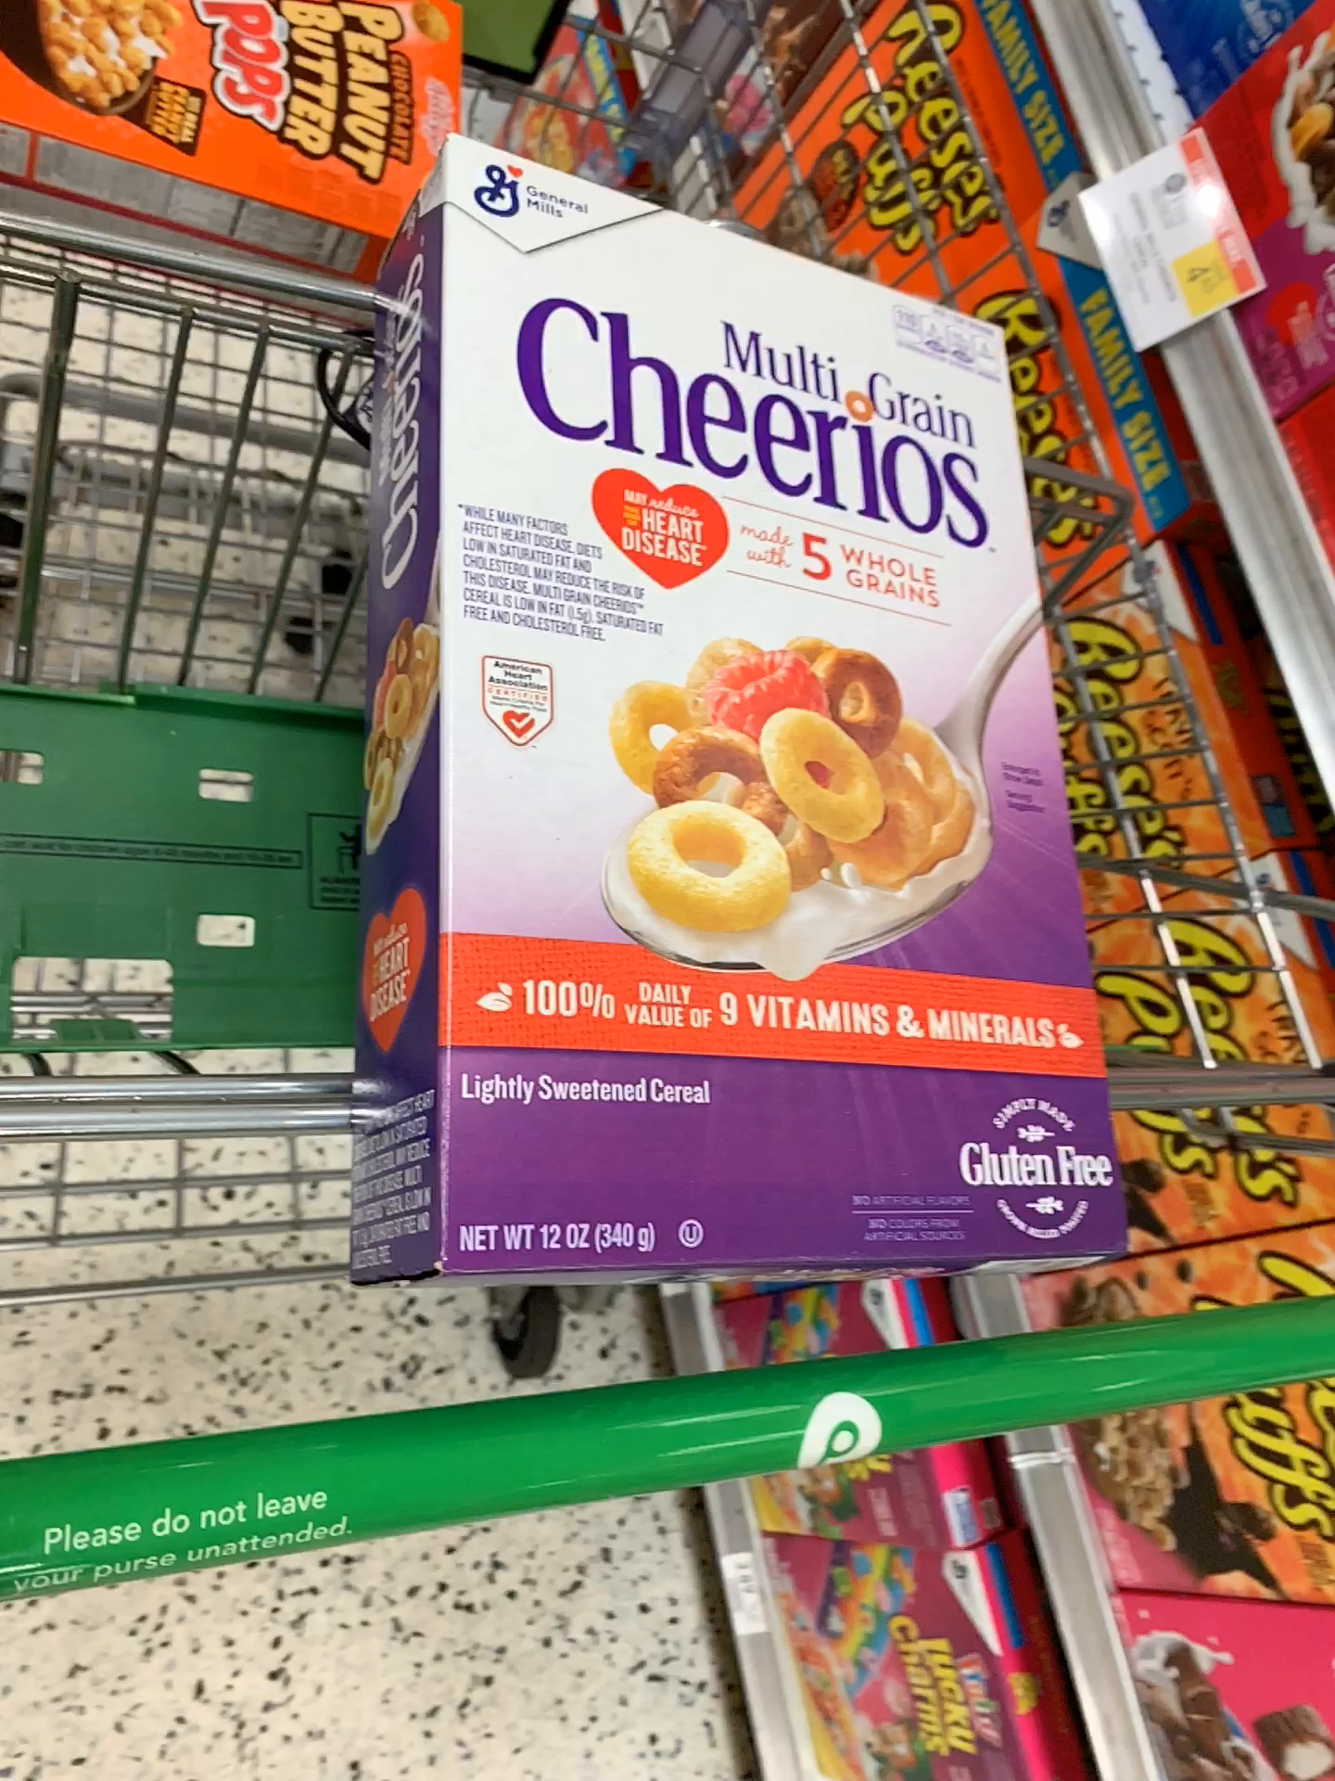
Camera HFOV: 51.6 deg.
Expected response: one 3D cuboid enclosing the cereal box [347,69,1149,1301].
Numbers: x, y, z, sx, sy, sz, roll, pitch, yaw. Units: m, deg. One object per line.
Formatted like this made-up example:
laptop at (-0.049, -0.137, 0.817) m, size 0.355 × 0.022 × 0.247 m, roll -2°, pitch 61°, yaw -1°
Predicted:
cereal box at (0.018, -0.052, 0.405) m, size 0.201 × 0.069 × 0.321 m, roll 6°, pitch 70°, yaw -28°
